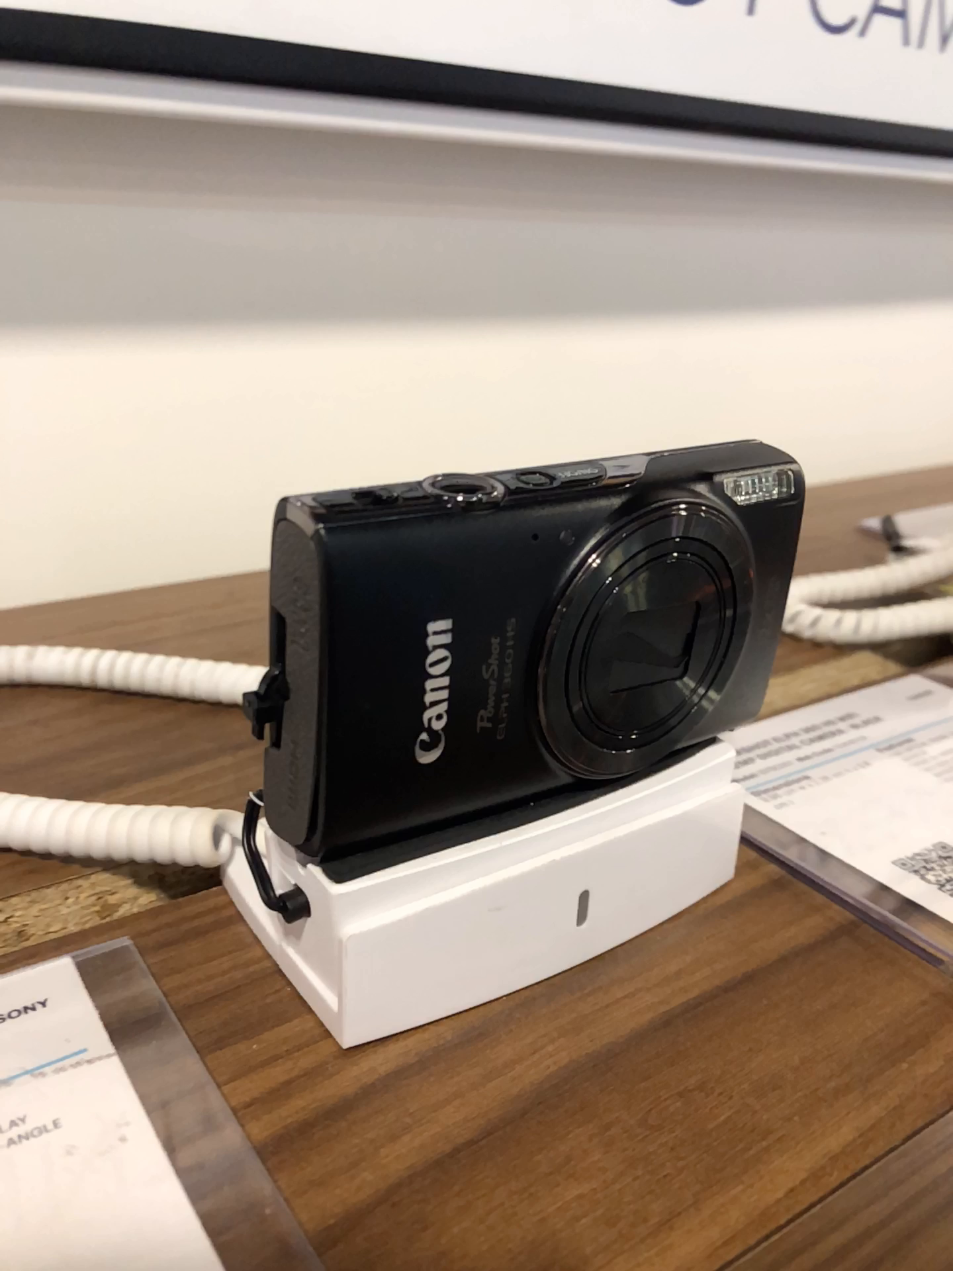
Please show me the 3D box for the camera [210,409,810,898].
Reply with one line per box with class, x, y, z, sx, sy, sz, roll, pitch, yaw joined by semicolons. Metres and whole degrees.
camera;0.009;-0.004;0.184;0.100;0.060;0.030;-12;24;-33
